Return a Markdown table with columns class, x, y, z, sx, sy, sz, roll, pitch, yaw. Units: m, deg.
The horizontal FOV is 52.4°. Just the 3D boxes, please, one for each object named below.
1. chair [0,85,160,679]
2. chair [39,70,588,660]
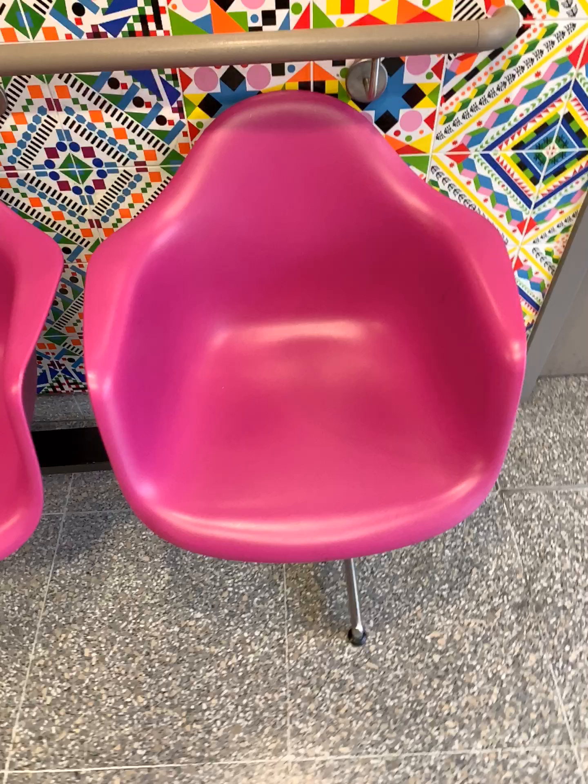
| class | x | y | z | sx | sy | sz | roll | pitch | yaw |
| --- | --- | --- | --- | --- | --- | --- | --- | --- | --- |
| chair | -0.591 | 0.037 | 0.978 | 0.520 | 0.764 | 0.605 | -2 | 51 | 0 |
| chair | 0.048 | 0.009 | 0.991 | 0.520 | 0.764 | 0.605 | -2 | 51 | 0 |
